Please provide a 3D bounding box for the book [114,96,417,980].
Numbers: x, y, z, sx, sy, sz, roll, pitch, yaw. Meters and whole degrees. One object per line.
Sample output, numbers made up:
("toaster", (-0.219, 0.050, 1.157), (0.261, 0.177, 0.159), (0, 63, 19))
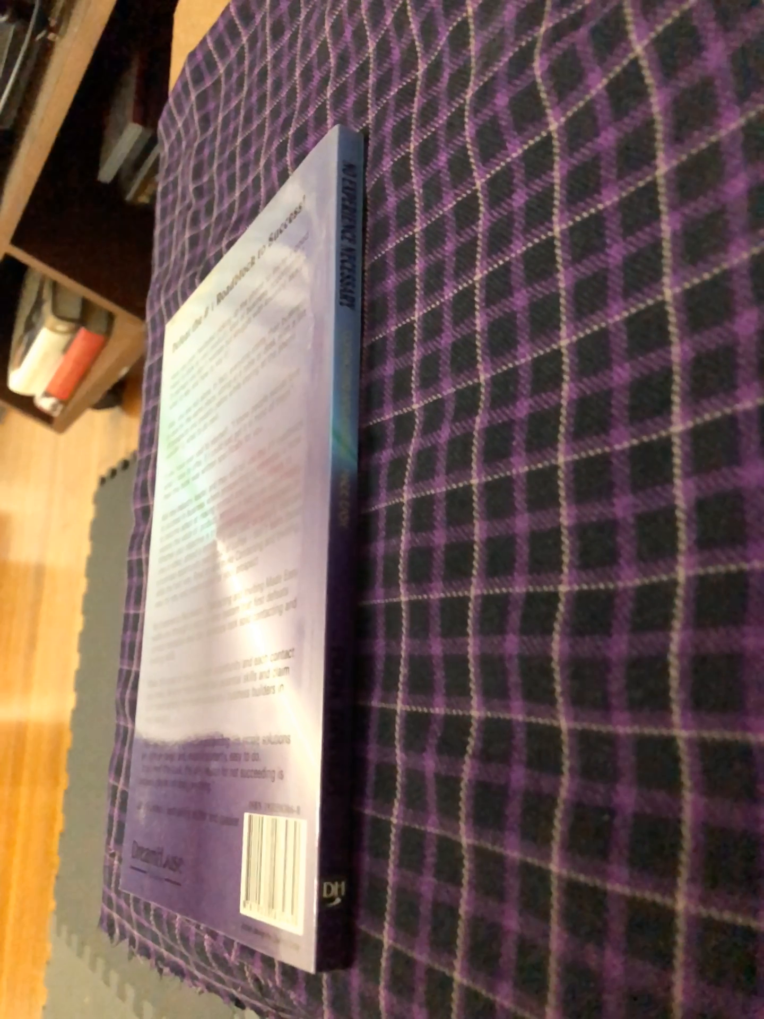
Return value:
("book", (-0.045, 0.011, 0.275), (0.161, 0.020, 0.220), (-24, 62, 54))
